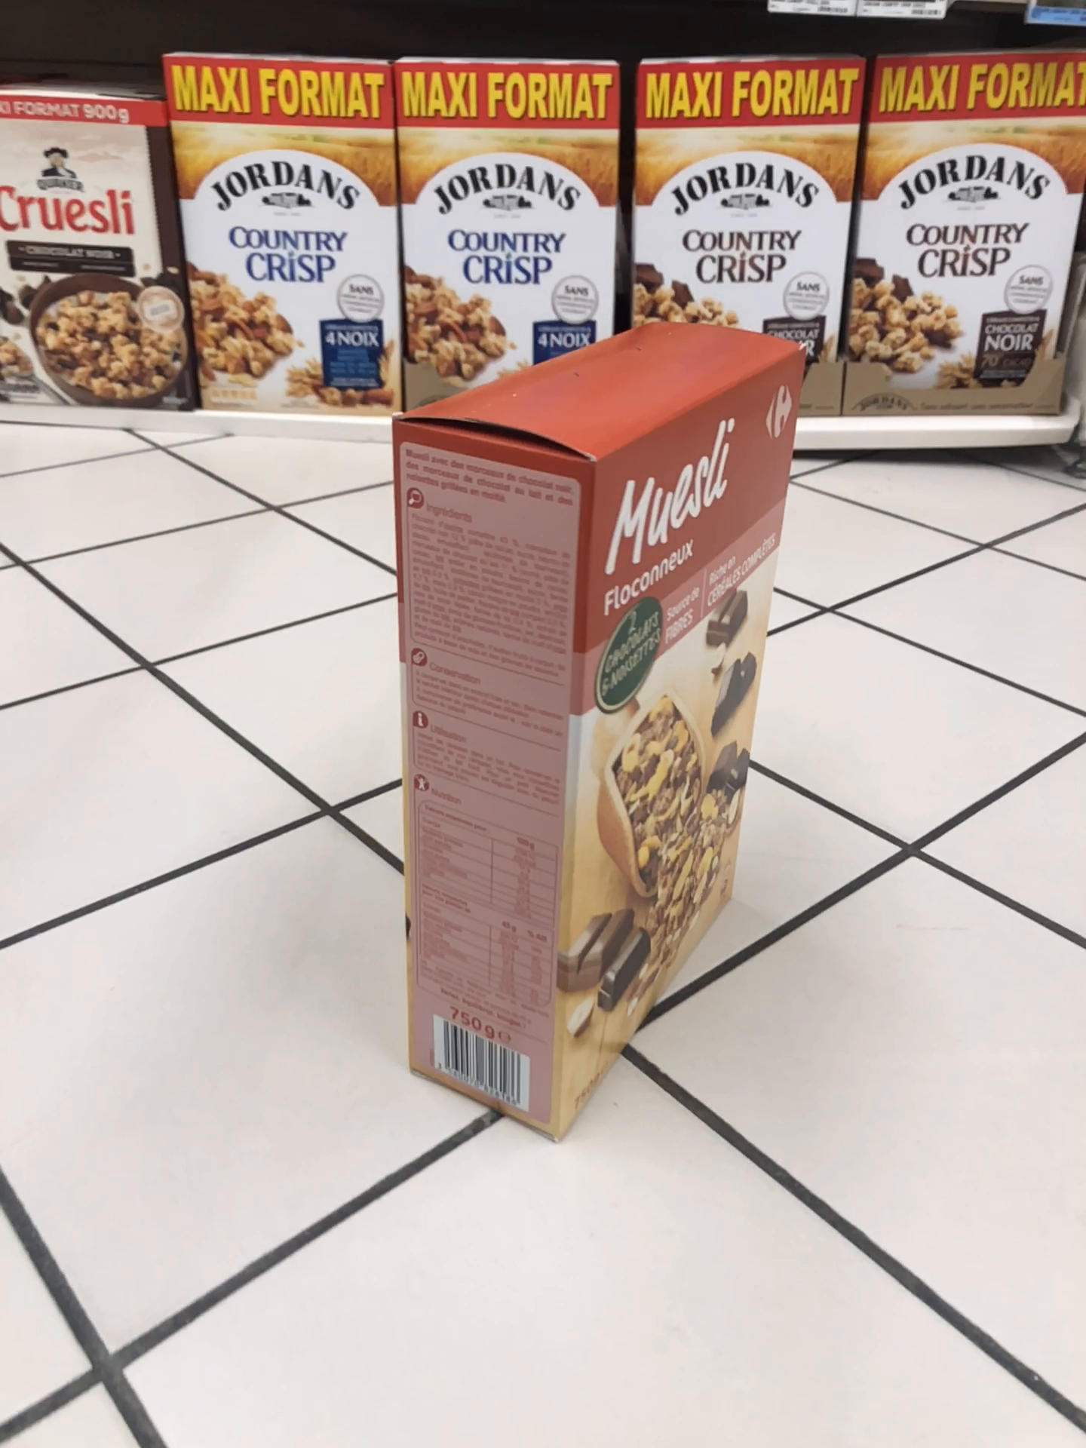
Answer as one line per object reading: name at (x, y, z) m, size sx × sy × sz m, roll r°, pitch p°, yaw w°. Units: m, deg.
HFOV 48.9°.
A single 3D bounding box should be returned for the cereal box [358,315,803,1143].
cereal box at (0.017, -0.007, 0.429) m, size 0.070 × 0.239 × 0.171 m, roll 16°, pitch 31°, yaw 24°
